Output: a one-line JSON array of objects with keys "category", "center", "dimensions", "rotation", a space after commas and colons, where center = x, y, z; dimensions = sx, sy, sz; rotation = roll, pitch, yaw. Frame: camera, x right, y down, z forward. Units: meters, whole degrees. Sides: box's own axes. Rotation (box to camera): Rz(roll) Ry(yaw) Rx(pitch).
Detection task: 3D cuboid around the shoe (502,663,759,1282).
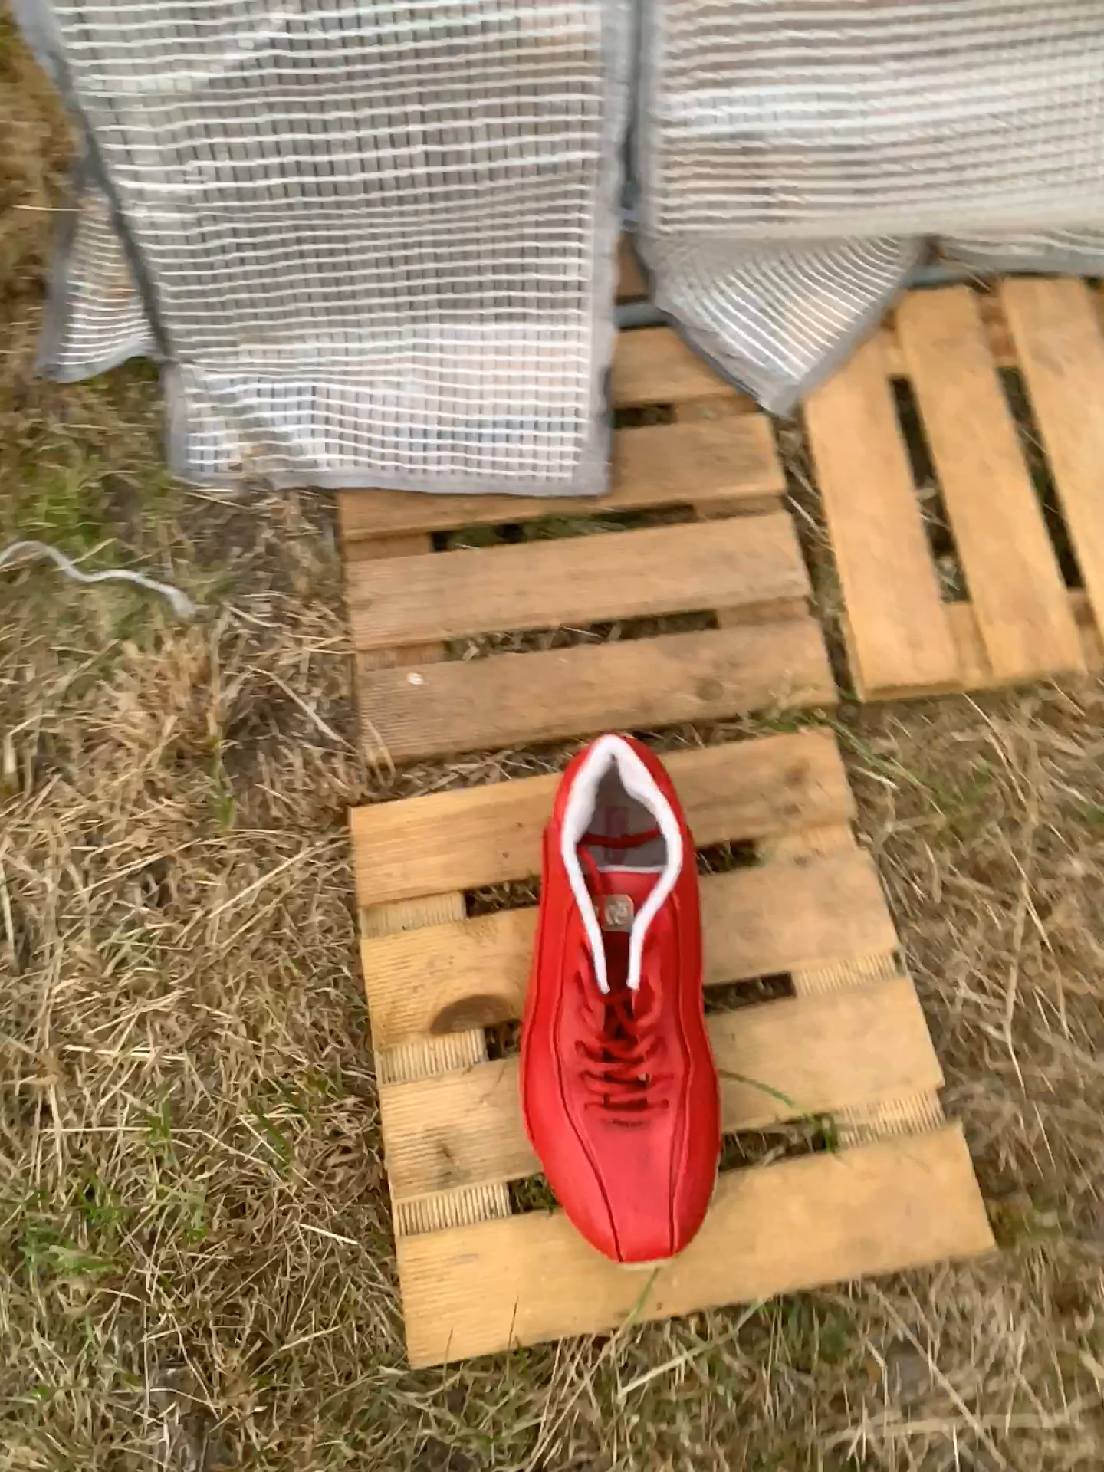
[{"category": "shoe", "center": [0.030, 0.118, 0.578], "dimensions": [0.100, 0.129, 0.282], "rotation": [-2, 61, 0]}]
